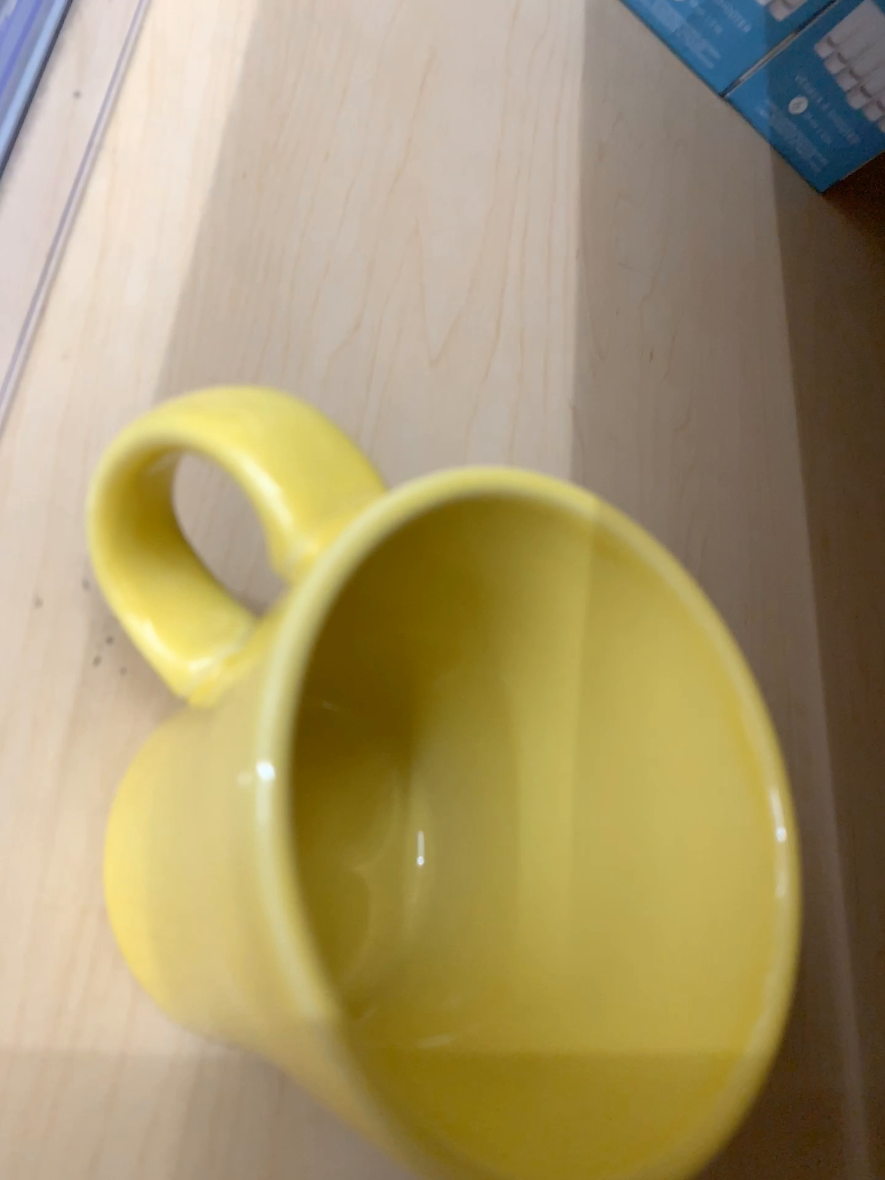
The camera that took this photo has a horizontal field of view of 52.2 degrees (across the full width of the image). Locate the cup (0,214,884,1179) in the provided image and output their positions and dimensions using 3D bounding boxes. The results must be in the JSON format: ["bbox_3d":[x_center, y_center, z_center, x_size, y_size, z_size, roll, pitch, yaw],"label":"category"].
[{"bbox_3d":[-0.009,0.032,0.163,0.139,0.088,0.104,54,49,-9],"label":"cup"}]
